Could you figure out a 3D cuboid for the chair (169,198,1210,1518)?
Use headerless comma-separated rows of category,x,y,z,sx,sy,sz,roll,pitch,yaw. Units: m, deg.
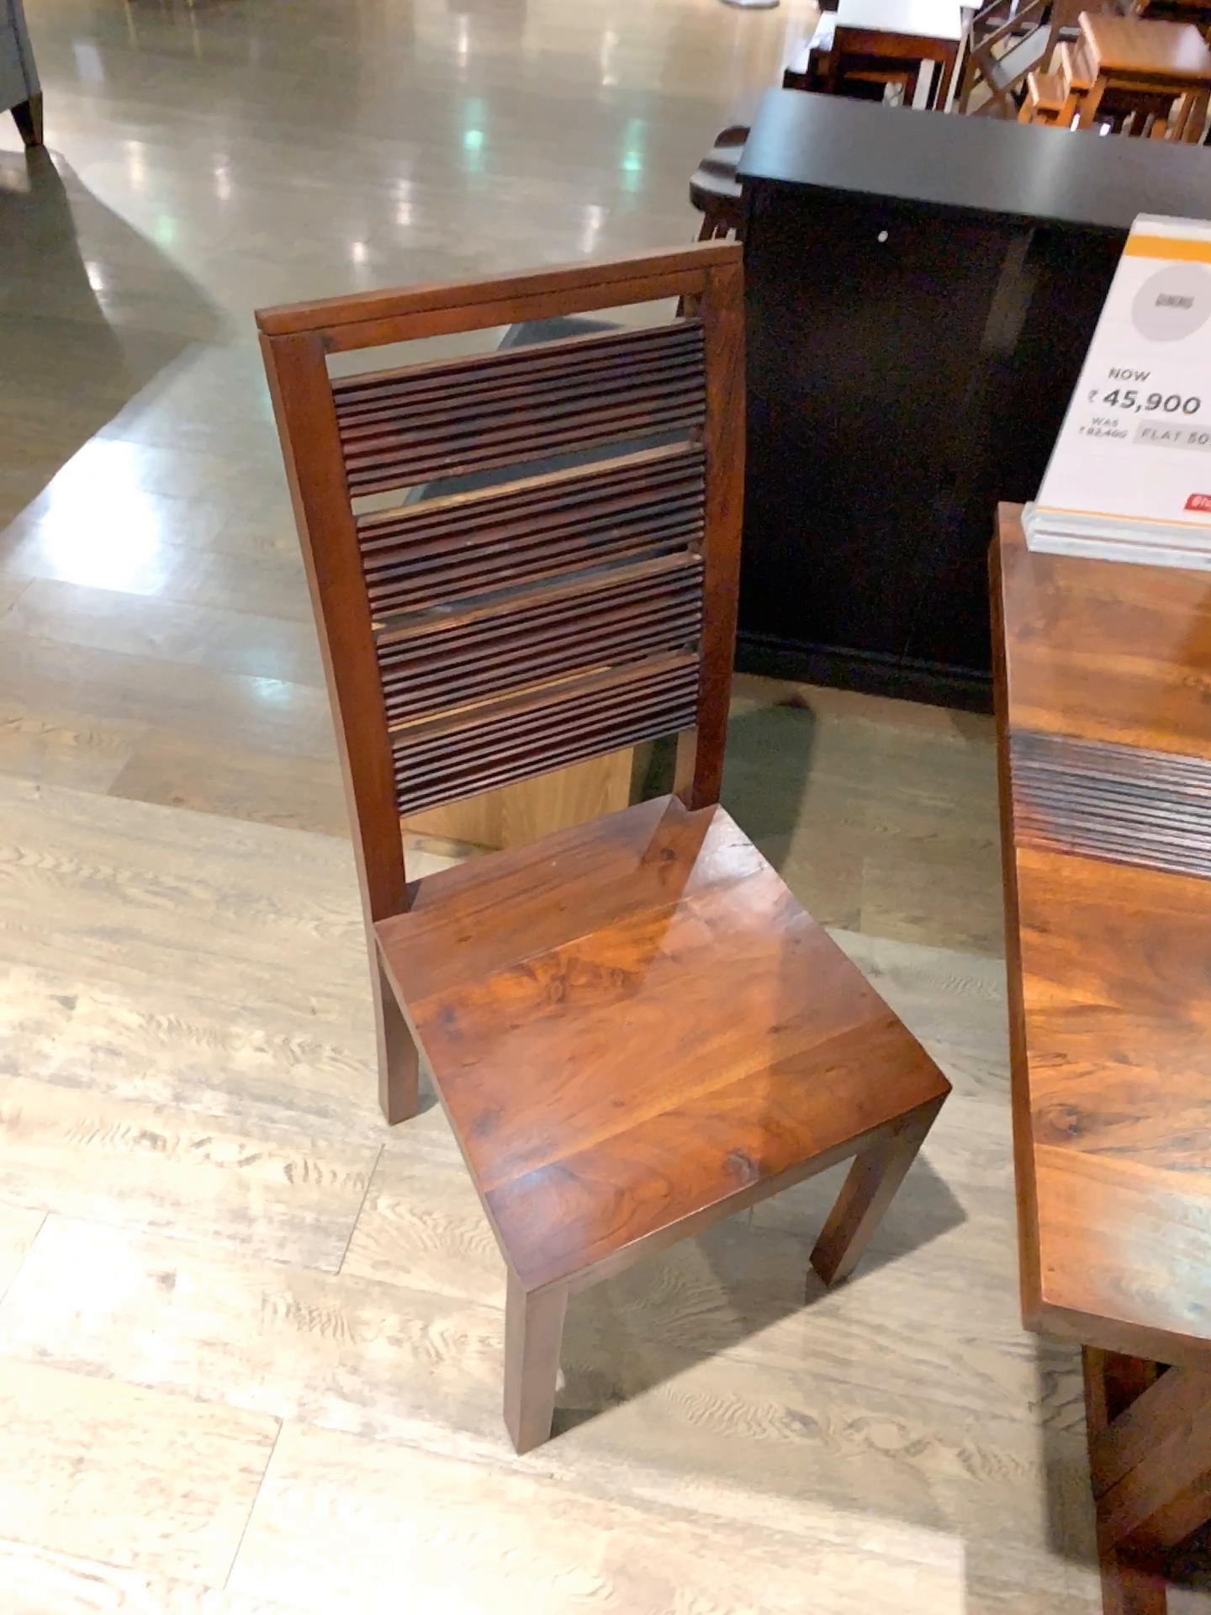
chair,0.034,0.099,1.111,0.520,0.996,0.531,-19,50,-22
